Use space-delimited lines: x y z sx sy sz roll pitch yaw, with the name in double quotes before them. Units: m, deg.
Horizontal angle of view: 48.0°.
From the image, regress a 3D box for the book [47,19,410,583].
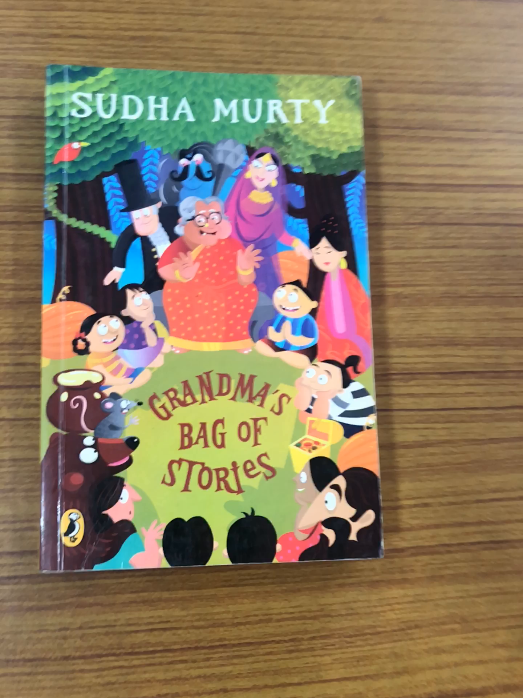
"book" -0.015 -0.023 0.236 0.130 0.030 0.210 -1 84 -5
